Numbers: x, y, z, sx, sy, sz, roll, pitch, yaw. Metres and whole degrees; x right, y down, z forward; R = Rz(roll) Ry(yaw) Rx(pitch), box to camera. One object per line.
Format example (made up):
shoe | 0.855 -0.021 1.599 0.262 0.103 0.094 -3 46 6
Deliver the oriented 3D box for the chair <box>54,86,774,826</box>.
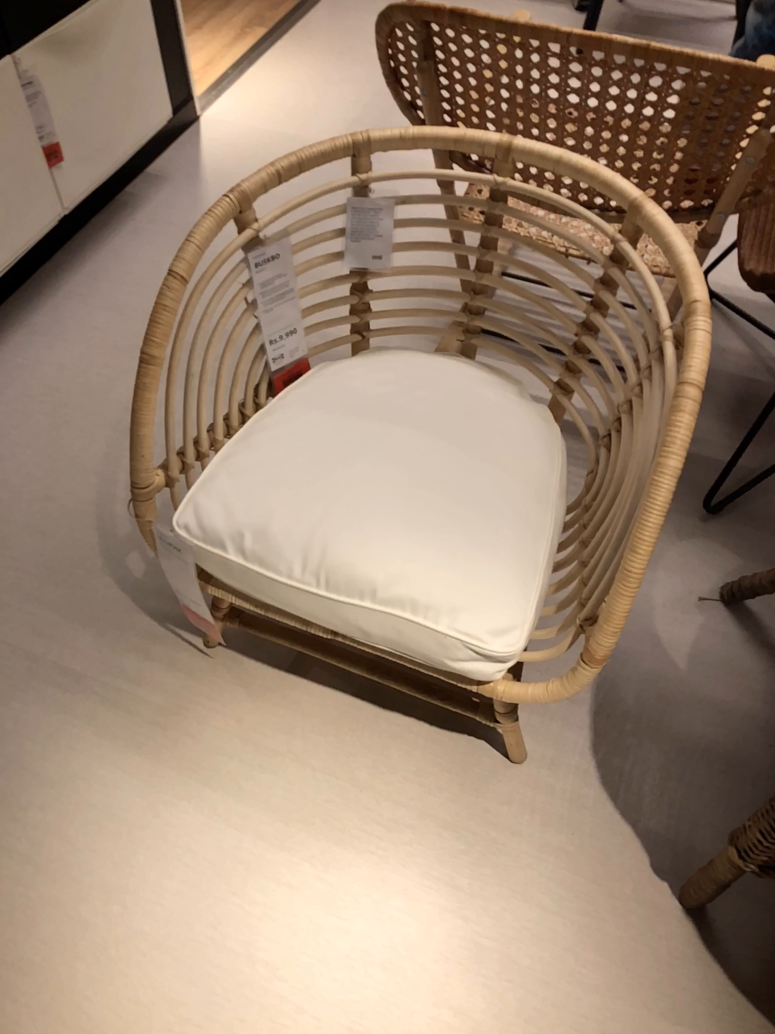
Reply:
chair | 0.090 -0.082 1.411 0.751 0.825 0.683 18 55 14
